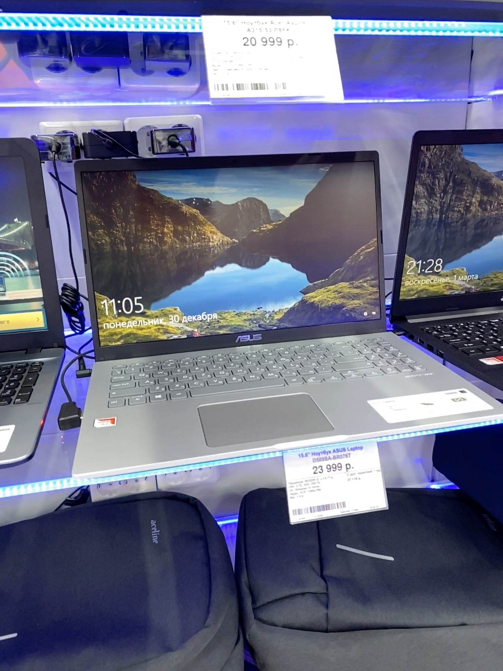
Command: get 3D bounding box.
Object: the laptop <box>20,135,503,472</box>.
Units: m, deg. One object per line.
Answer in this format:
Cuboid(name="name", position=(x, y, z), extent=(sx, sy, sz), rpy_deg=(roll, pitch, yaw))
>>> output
Cuboid(name="laptop", position=(0.015, -0.064, 0.502), extent=(0.360, 0.216, 0.286), rpy_deg=(-5, 18, -11))
